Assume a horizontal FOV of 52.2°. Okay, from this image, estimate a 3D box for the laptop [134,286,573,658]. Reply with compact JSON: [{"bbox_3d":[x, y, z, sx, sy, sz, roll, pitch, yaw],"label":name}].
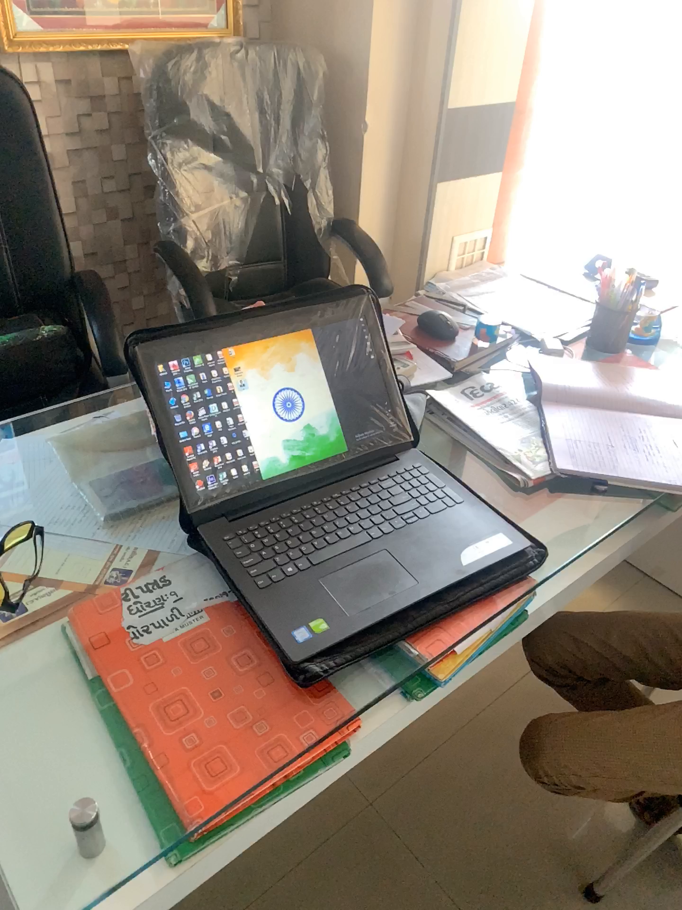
[{"bbox_3d":[-0.008,-0.021,0.838,0.334,0.175,0.391,-18,42,-28],"label":"laptop"}]
